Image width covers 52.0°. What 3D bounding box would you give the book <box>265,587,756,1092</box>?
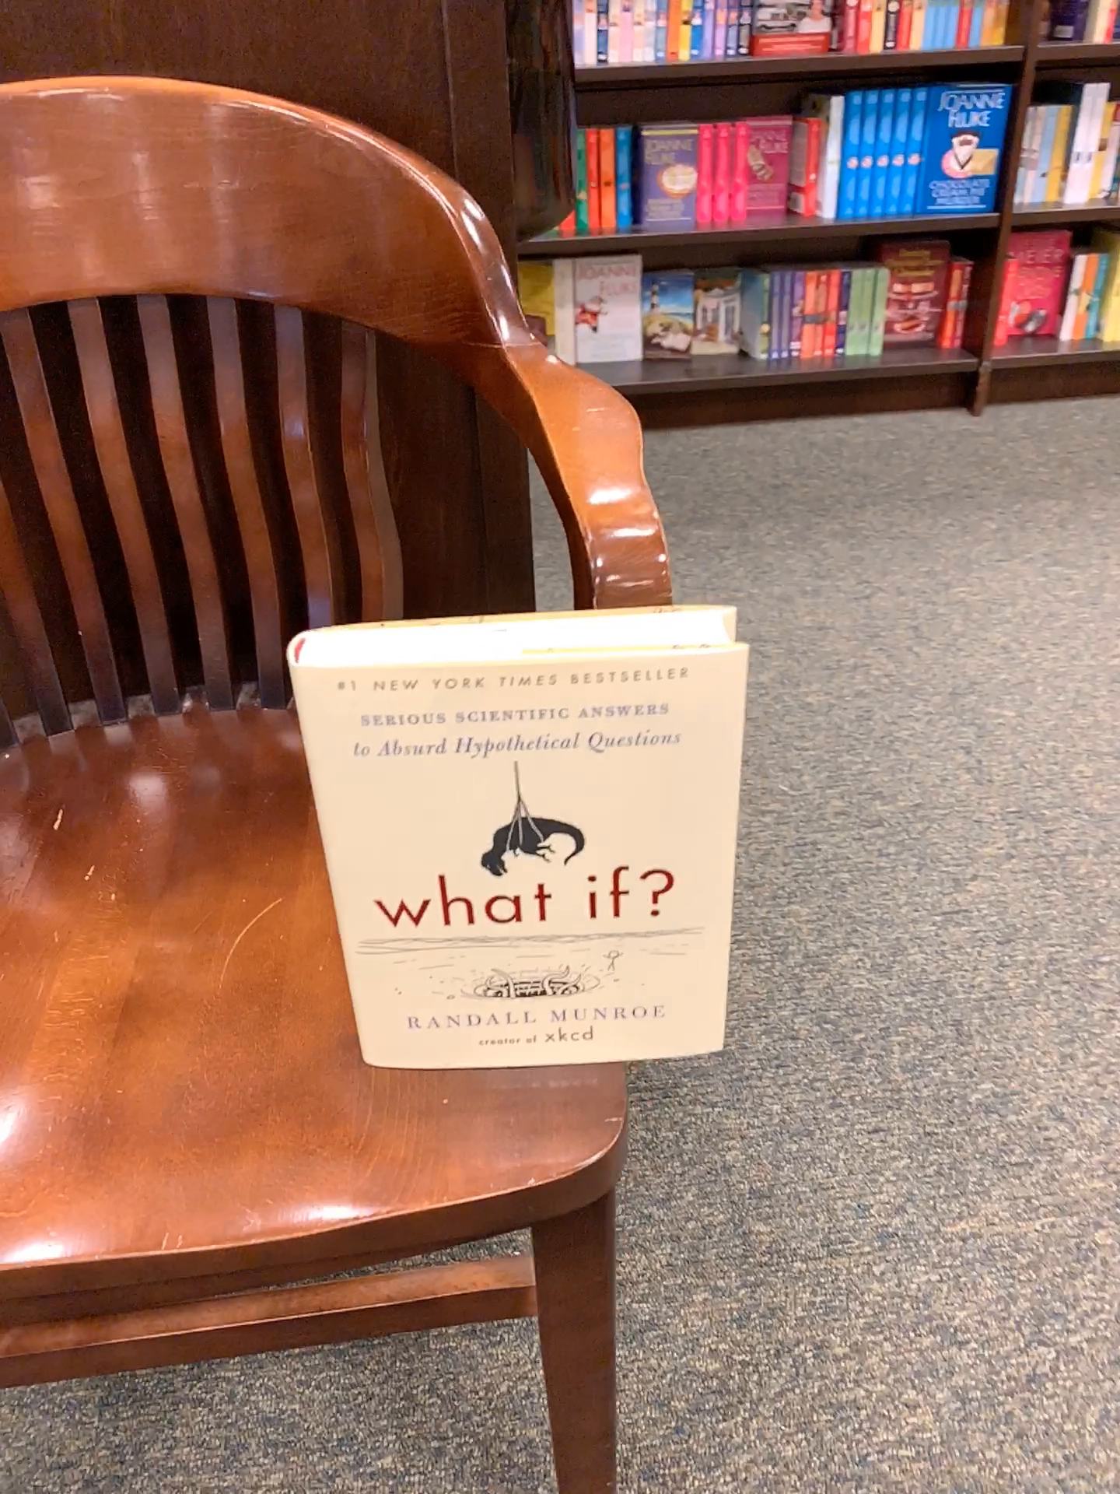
[{"bbox_3d":[-0.015,0.052,0.524,0.188,0.239,0.050,-3,33,-1],"label":"book"}]
